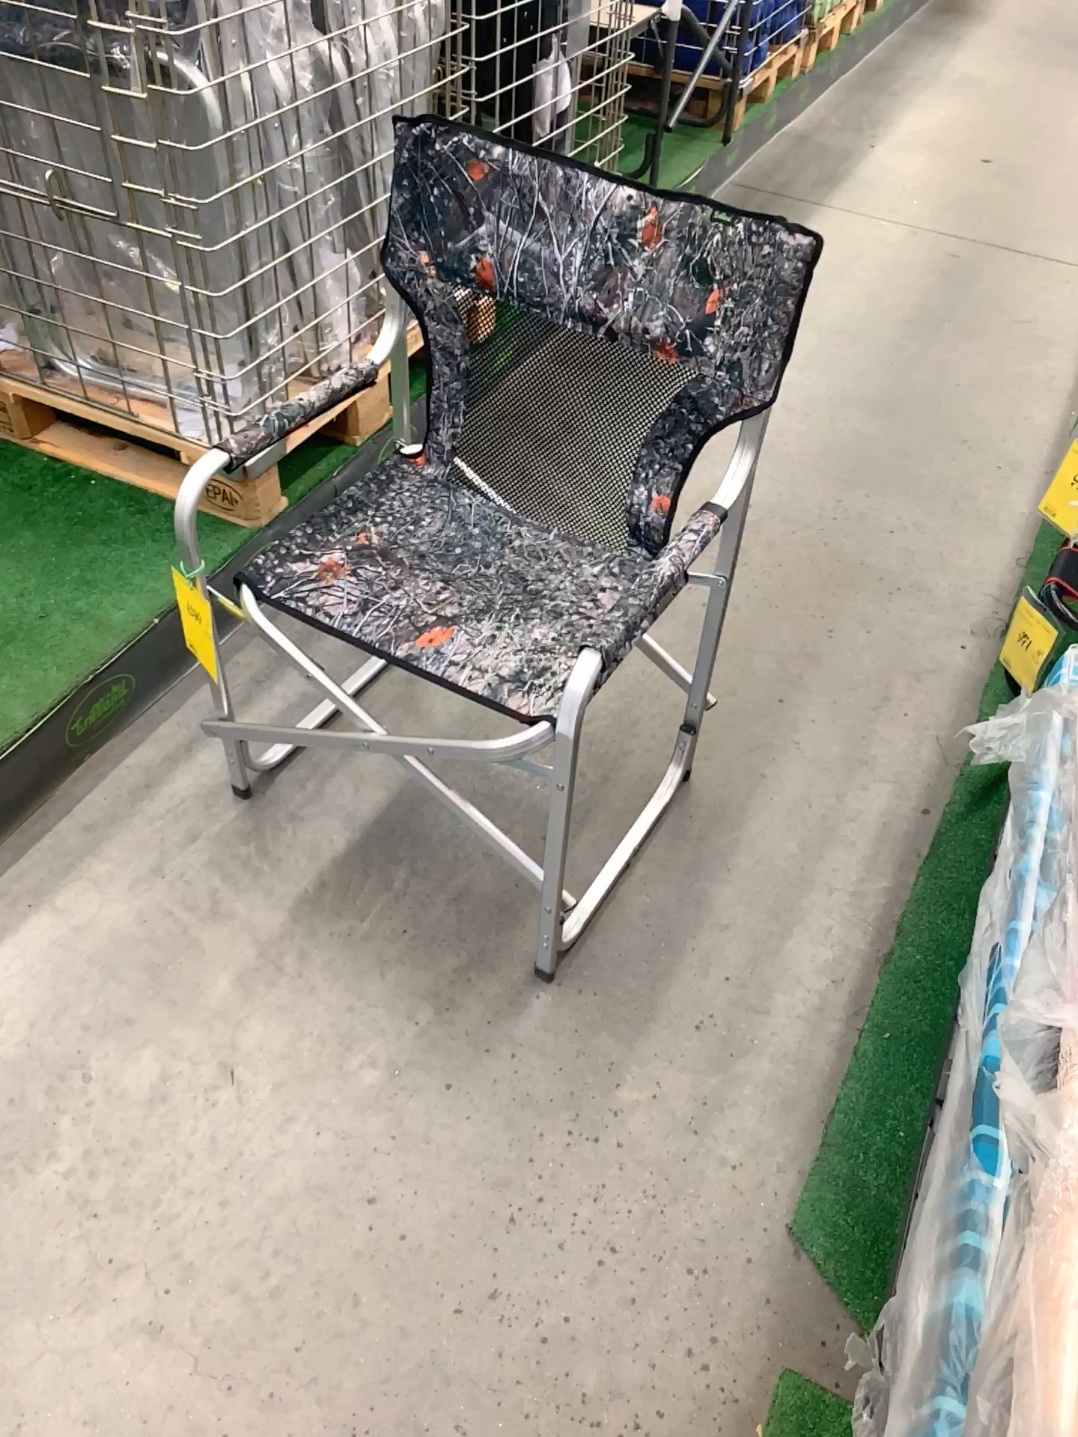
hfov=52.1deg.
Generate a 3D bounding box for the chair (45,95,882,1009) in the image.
[{"bbox_3d":[-0.077,-0.224,1.463,0.651,0.836,0.612,27,49,21],"label":"chair"}]
